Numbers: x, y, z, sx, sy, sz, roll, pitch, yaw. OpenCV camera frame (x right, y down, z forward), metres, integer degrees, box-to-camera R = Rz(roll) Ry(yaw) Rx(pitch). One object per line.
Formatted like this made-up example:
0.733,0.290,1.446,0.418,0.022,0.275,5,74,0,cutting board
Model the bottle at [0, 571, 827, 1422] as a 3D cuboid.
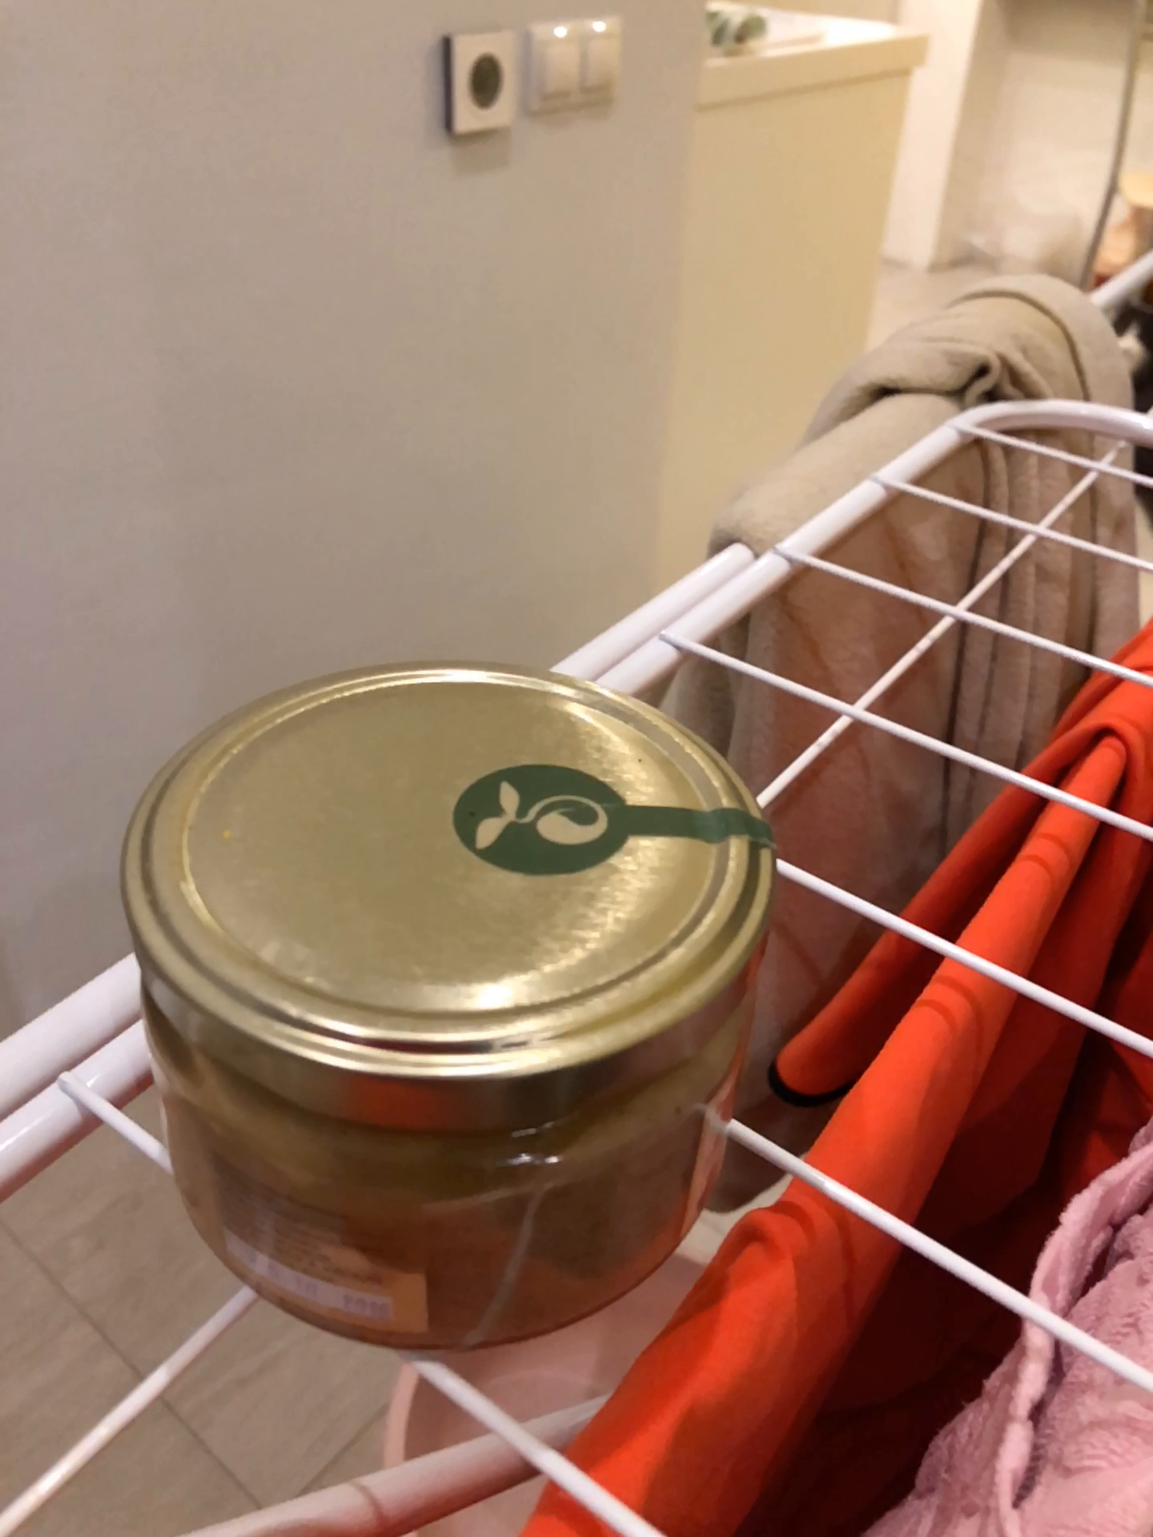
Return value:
-0.015,0.024,0.182,0.090,0.060,0.091,2,36,-1,bottle
